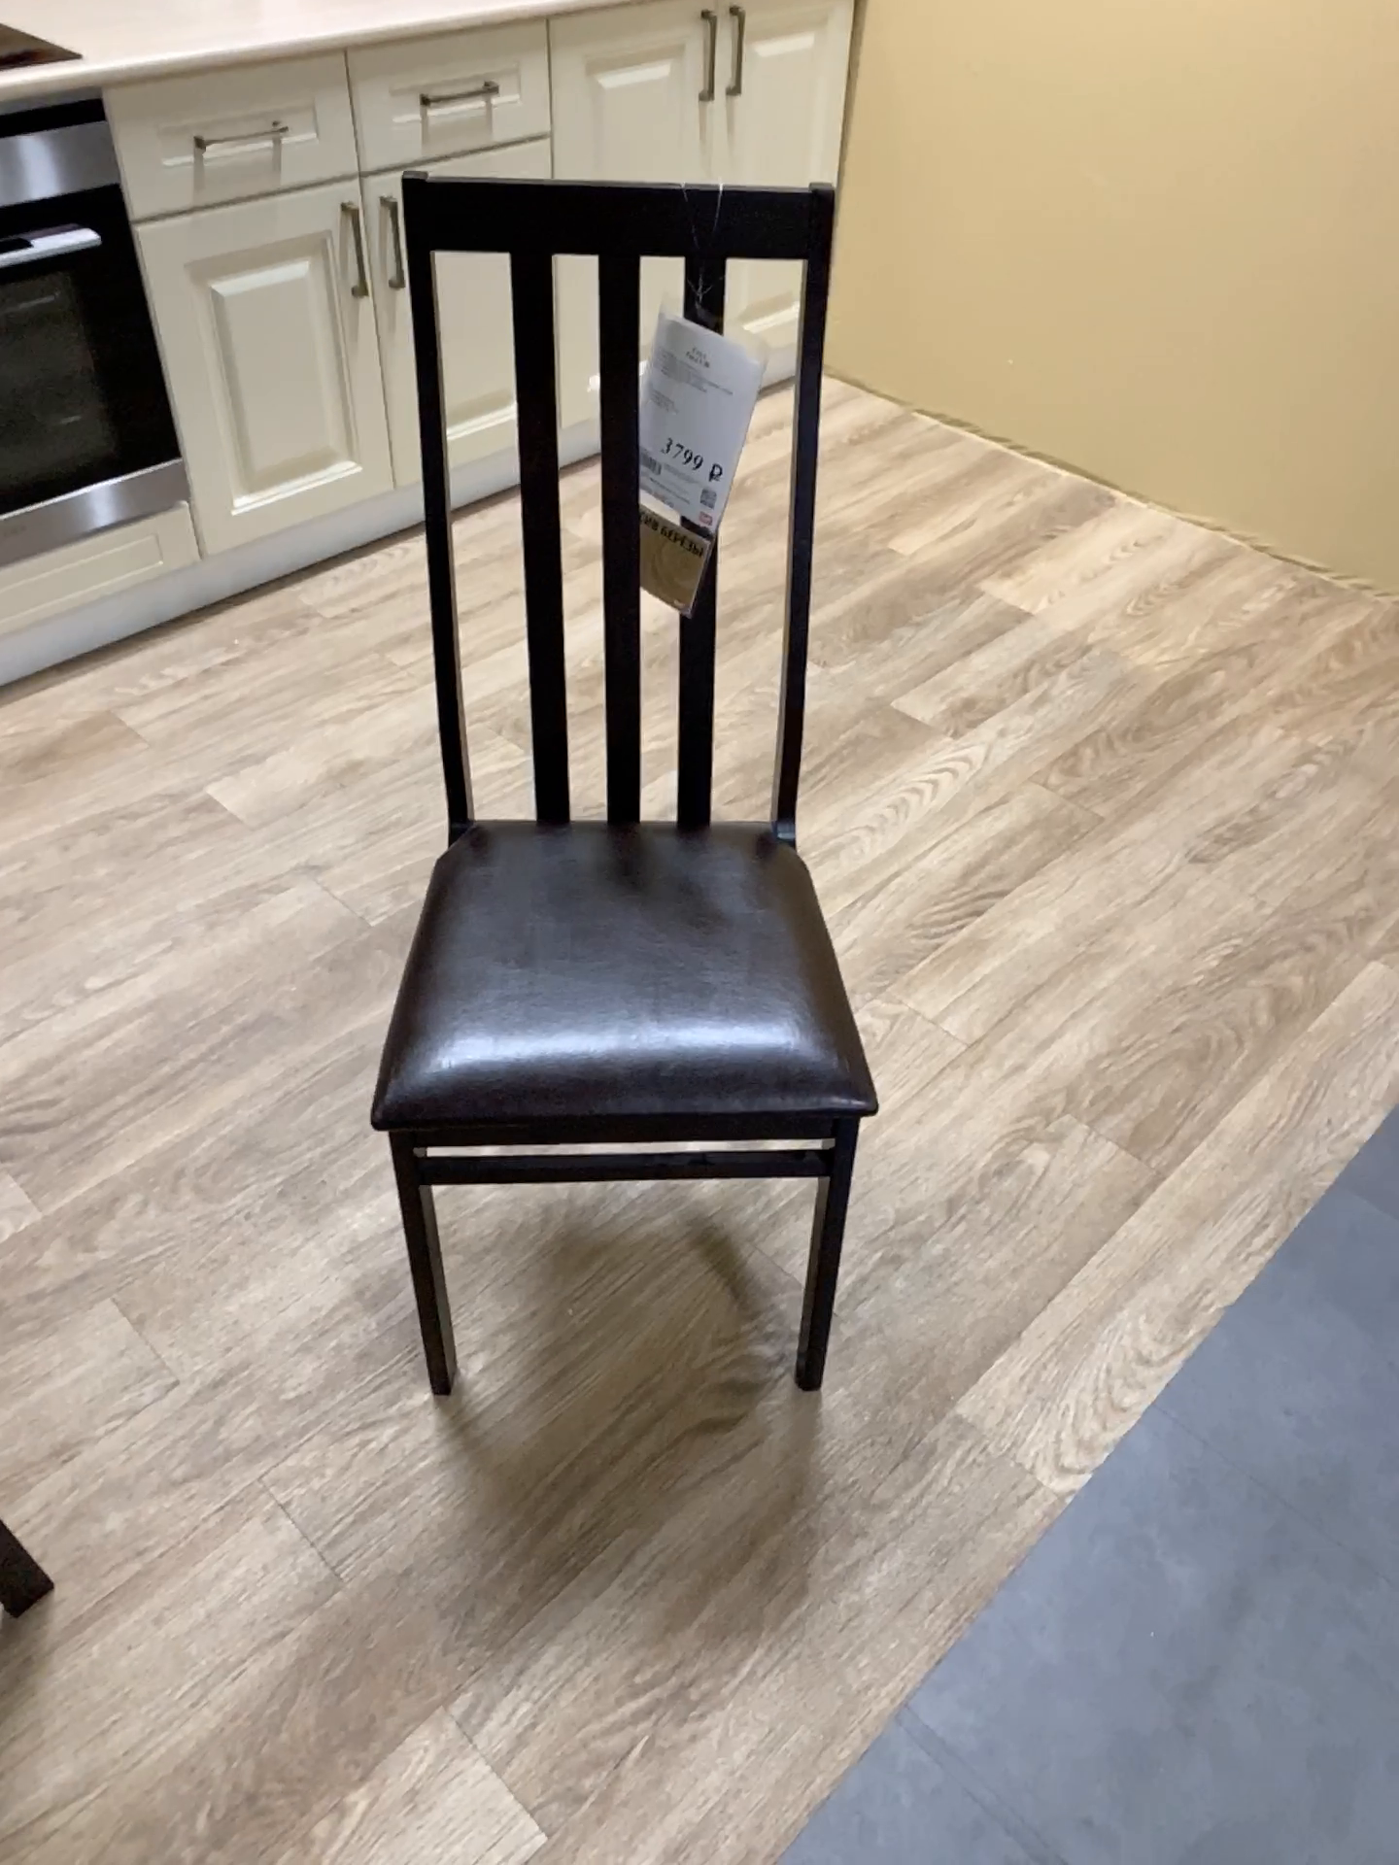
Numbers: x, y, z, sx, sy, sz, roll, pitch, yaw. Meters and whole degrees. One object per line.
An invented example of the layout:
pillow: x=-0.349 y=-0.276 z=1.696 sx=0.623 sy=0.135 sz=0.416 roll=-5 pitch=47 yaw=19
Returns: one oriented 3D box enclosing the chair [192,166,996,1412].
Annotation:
chair: x=-0.078 y=-0.061 z=1.263 sx=0.420 sy=0.985 sz=0.493 roll=0 pitch=43 yaw=-3
